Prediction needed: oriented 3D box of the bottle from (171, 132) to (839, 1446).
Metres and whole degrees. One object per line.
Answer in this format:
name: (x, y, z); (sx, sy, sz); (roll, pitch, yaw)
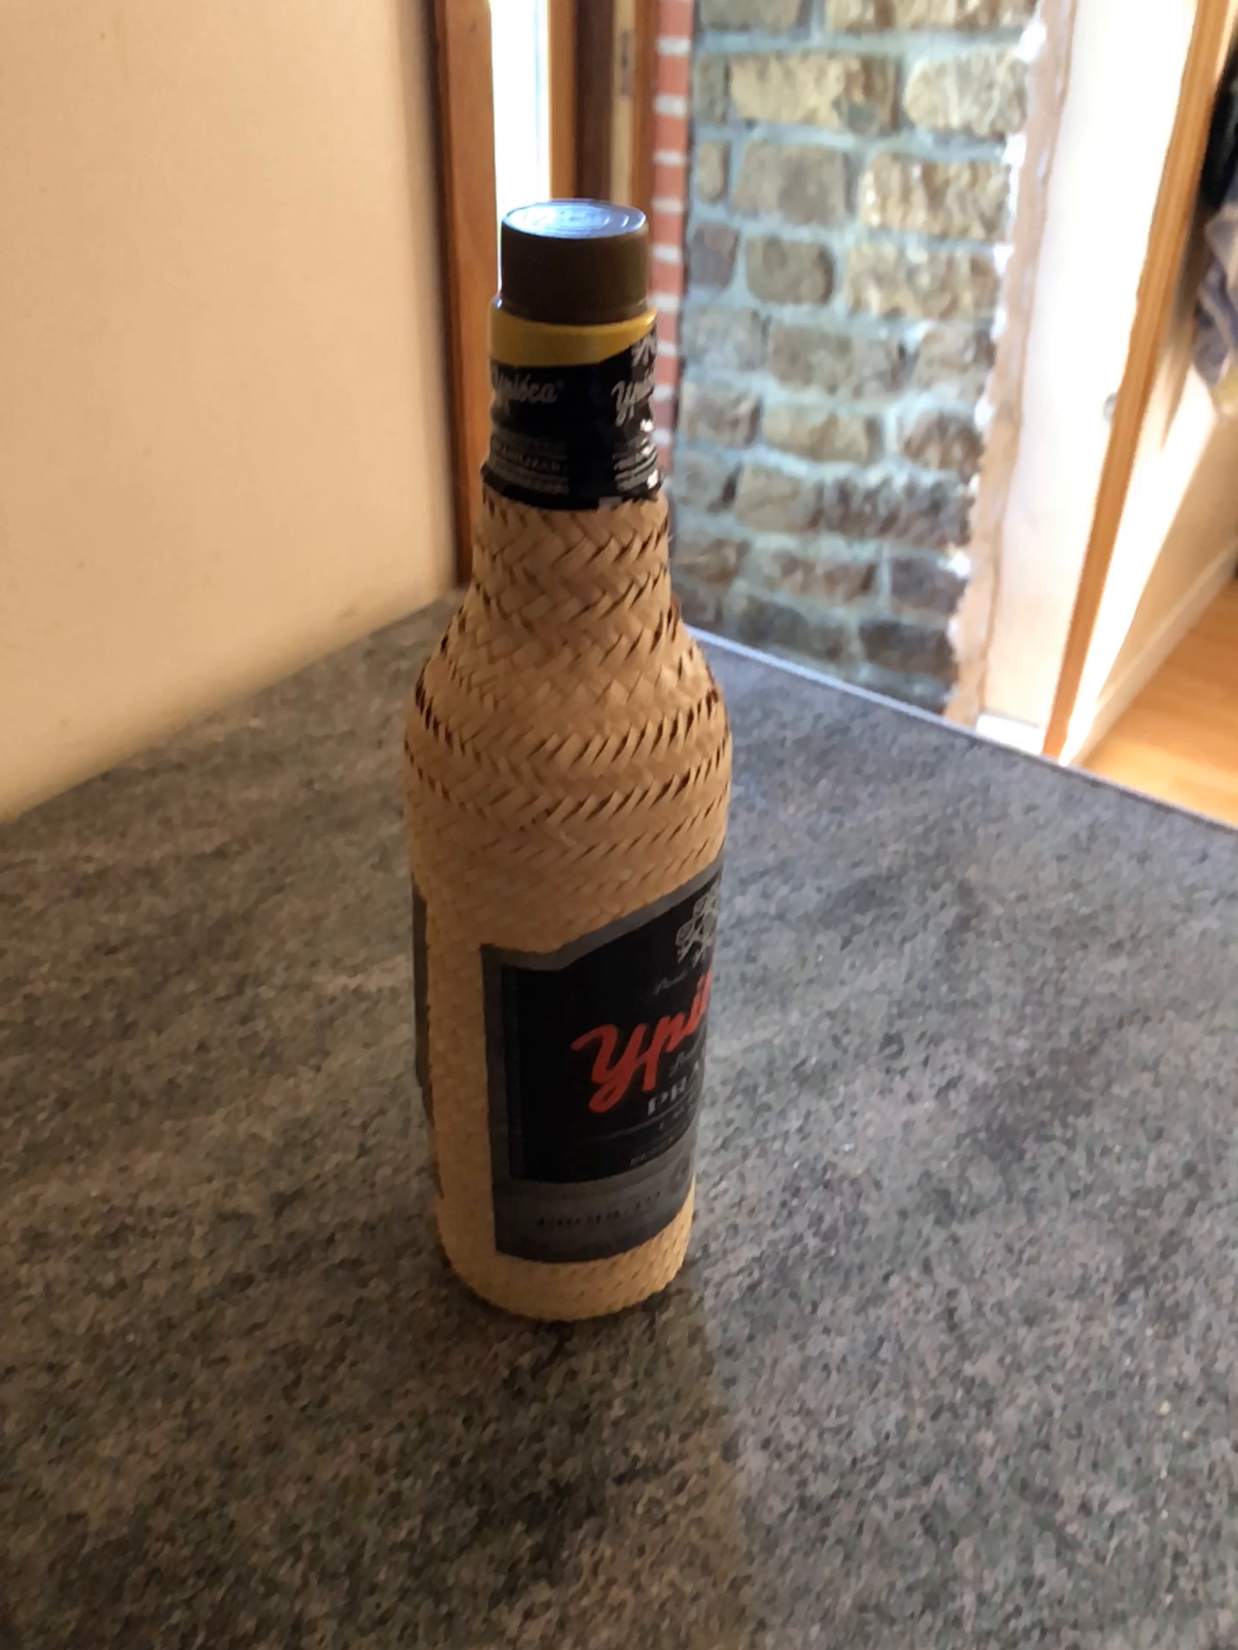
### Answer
bottle: (-0.020, 0.005, 0.323); (0.080, 0.288, 0.091); (22, 38, 28)
